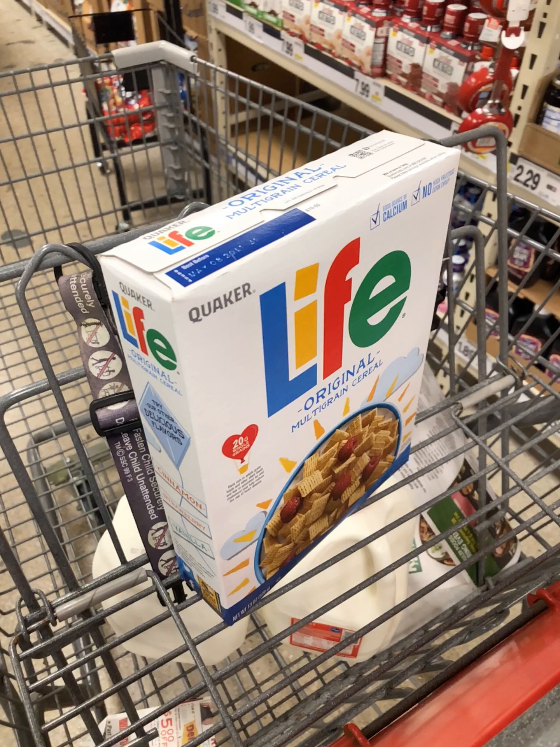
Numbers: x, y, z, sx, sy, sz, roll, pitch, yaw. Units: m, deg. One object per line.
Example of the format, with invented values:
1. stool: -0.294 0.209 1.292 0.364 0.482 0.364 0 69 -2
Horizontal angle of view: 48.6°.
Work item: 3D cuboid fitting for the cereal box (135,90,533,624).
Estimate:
1. cereal box: 0.039 -0.003 0.347 0.200 0.240 0.050 -34 50 -31
